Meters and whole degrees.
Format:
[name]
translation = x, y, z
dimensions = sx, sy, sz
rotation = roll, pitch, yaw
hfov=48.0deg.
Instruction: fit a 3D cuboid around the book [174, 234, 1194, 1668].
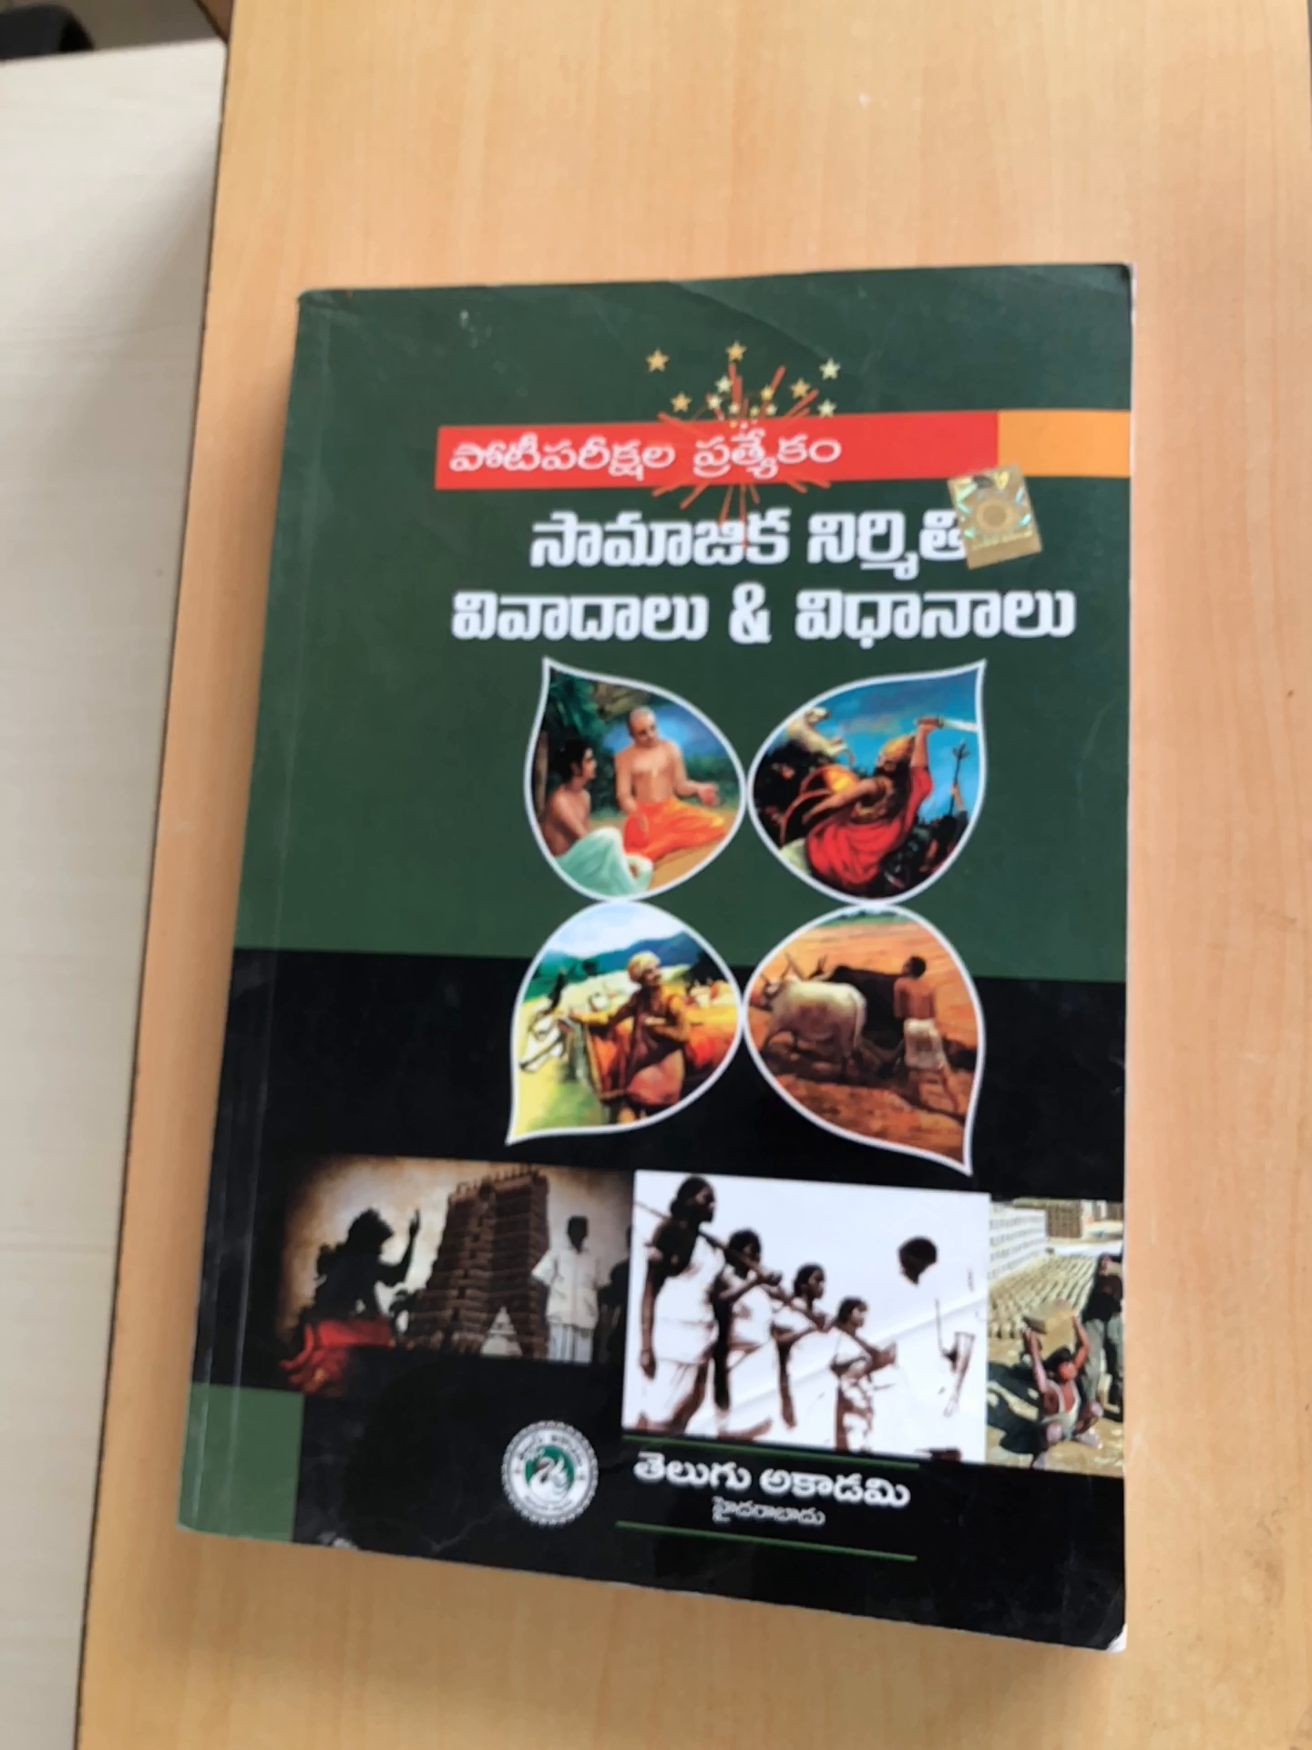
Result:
[book]
translation = 0.011, 0.006, 0.316
dimensions = 0.190, 0.050, 0.270
rotation = 2, 81, 9
